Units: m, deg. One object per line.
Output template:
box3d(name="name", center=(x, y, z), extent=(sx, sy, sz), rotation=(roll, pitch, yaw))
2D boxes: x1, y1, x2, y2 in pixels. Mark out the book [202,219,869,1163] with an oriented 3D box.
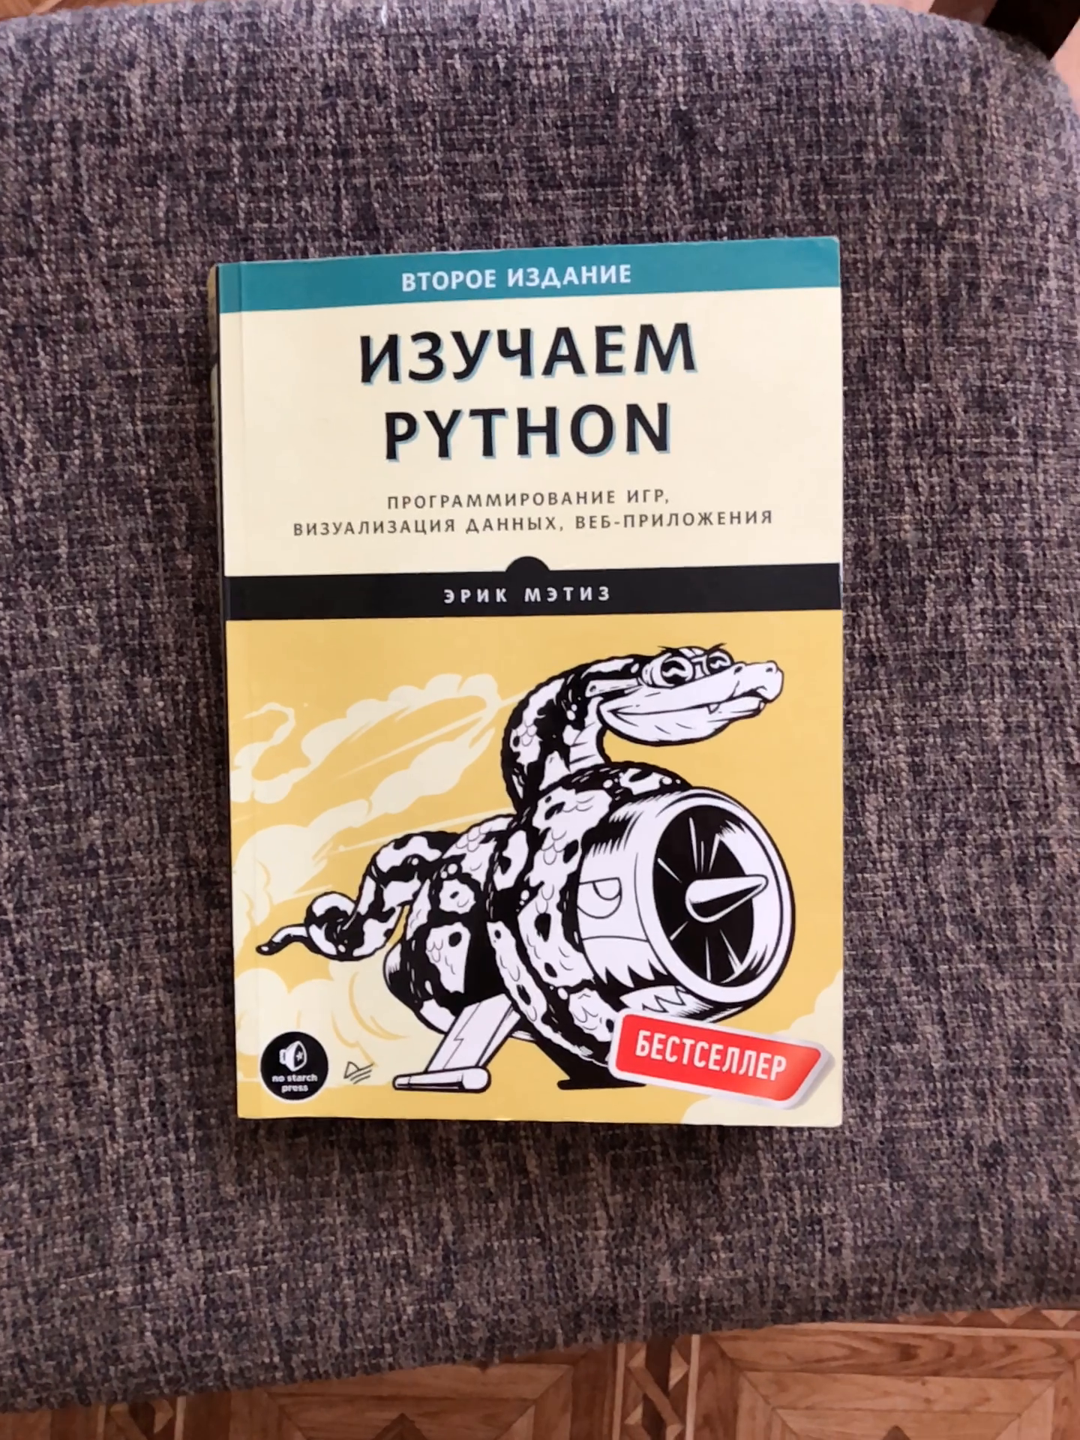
box3d(name="book", center=(-0.002, -0.007, 0.319), extent=(0.167, 0.040, 0.233), rotation=(0, 89, 4))
